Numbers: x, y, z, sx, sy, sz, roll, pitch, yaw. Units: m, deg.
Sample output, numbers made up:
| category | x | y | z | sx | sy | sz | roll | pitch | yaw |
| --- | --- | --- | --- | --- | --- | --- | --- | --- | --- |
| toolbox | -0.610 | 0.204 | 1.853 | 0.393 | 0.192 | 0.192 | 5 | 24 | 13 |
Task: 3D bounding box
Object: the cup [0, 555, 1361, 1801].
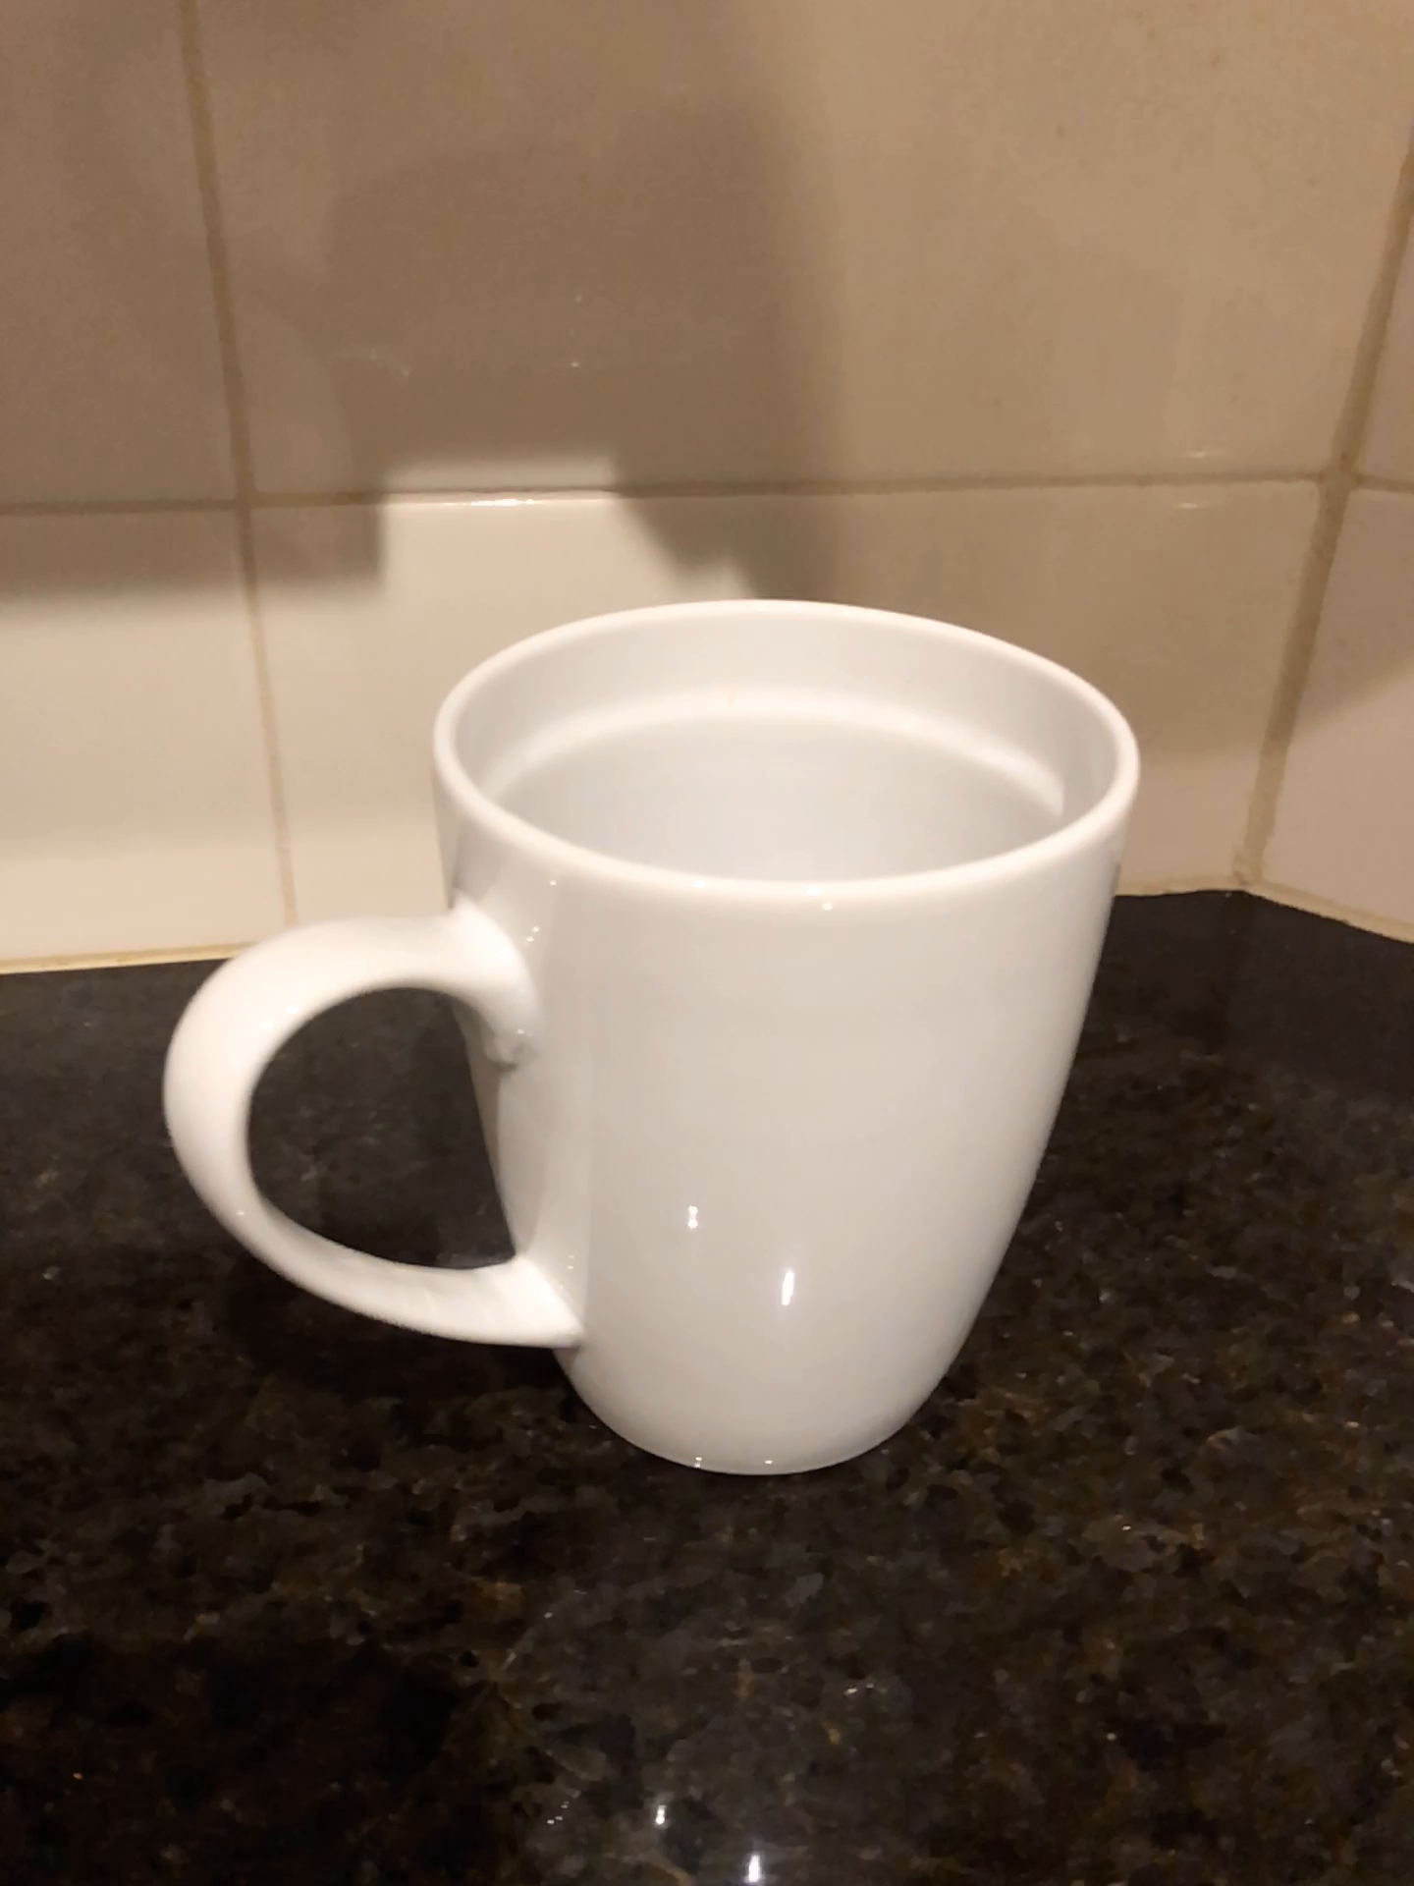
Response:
| category | x | y | z | sx | sy | sz | roll | pitch | yaw |
| --- | --- | --- | --- | --- | --- | --- | --- | --- | --- |
| cup | -0.005 | 0.014 | 0.206 | 0.130 | 0.090 | 0.090 | -16 | 35 | -29 |
